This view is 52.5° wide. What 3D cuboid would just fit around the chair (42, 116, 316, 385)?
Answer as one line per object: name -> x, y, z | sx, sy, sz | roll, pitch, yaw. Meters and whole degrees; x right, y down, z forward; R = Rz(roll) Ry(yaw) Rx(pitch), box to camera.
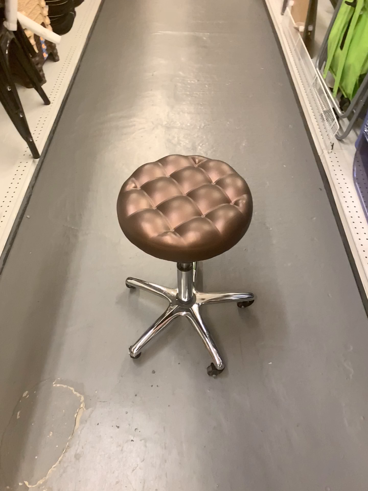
chair -> -0.001, 0.034, 1.067 | 0.501, 0.575, 0.513 | 1, 51, 2
